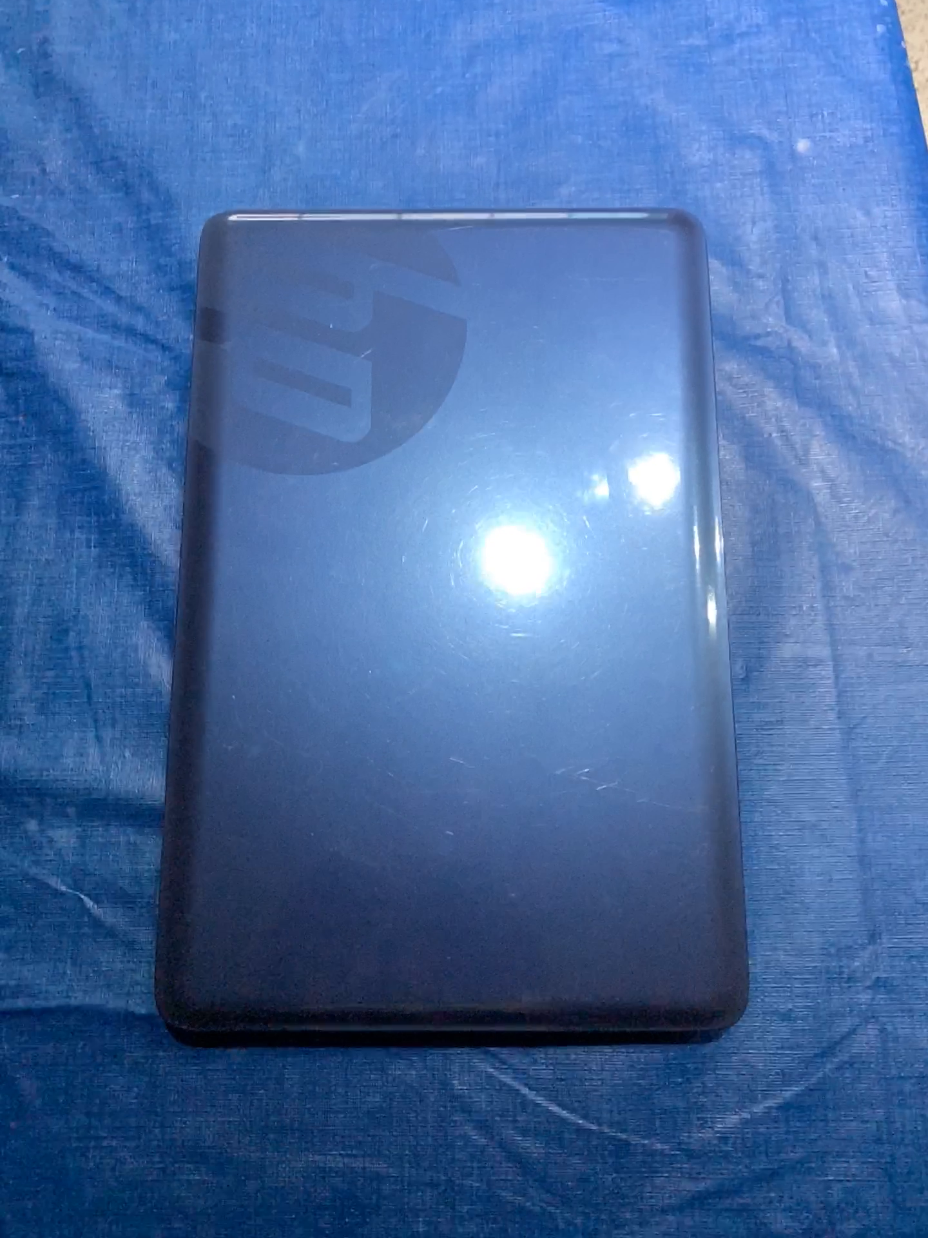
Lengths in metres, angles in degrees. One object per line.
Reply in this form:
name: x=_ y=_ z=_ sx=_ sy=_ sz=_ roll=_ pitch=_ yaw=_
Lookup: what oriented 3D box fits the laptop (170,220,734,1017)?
laptop: x=-0.005 y=-0.013 z=0.434 sx=0.235 sy=0.009 sz=0.364 roll=0 pitch=80 yaw=0
